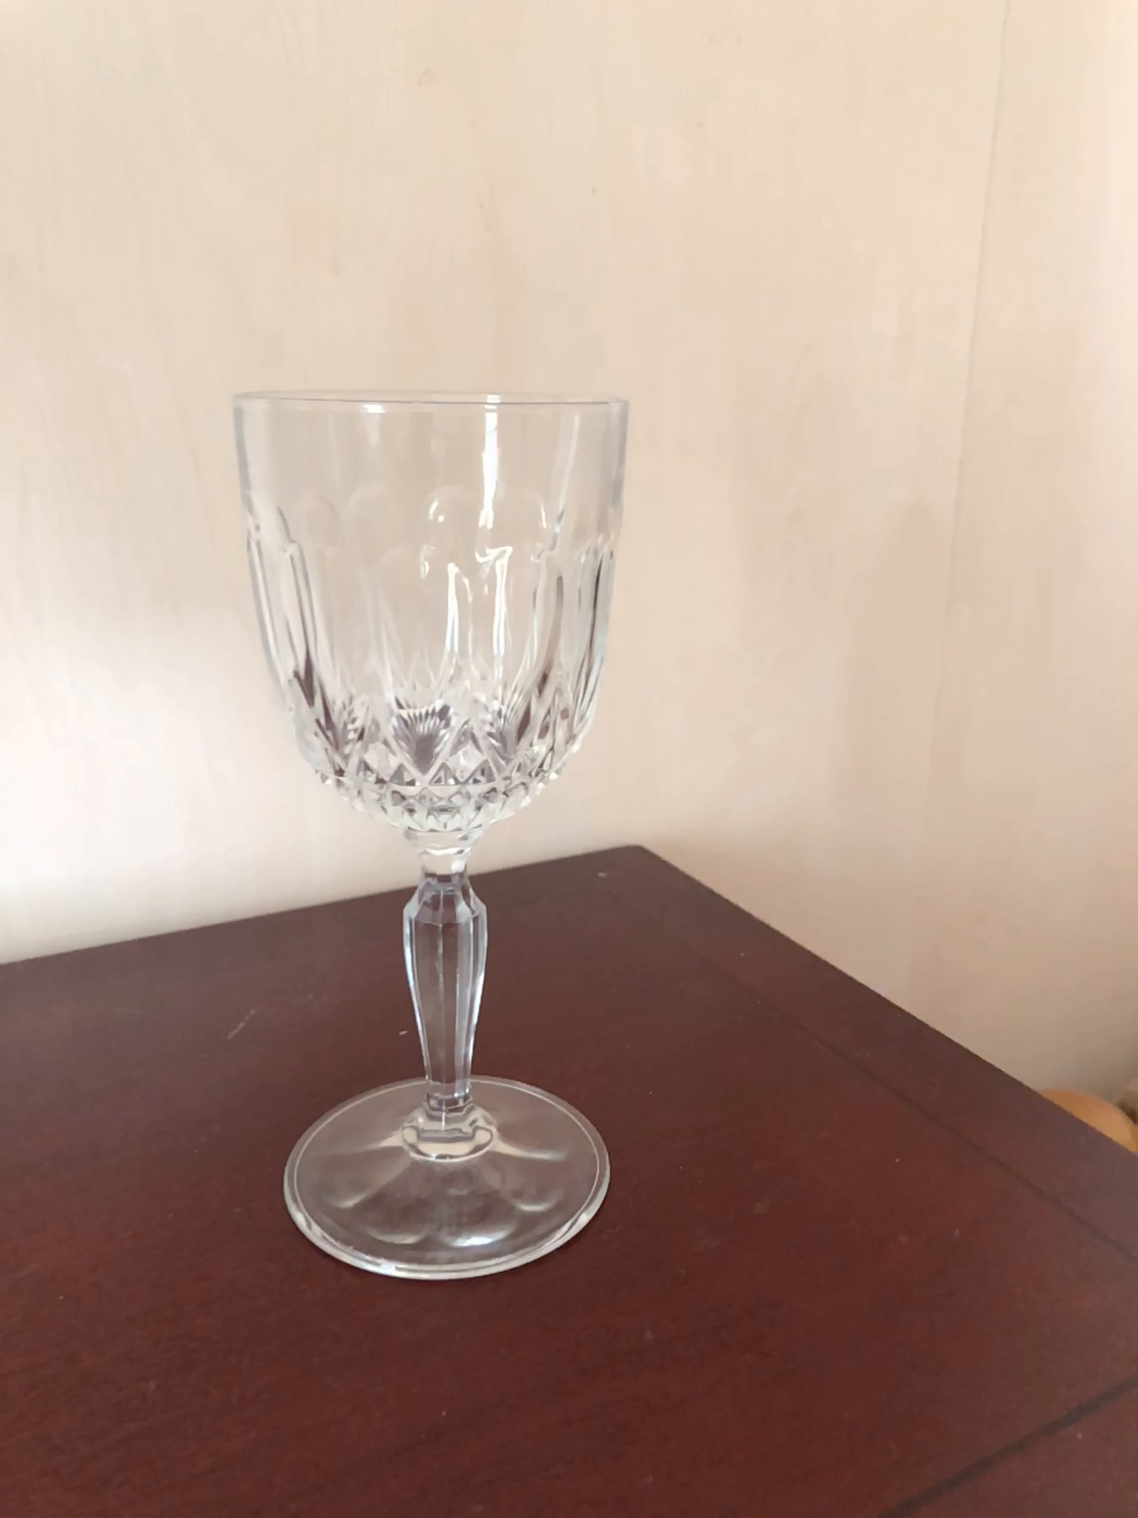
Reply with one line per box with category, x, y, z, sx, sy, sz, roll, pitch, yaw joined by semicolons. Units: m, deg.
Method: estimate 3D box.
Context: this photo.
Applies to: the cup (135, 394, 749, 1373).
cup;-0.031;0.014;0.277;0.096;0.179;0.092;1;17;0
